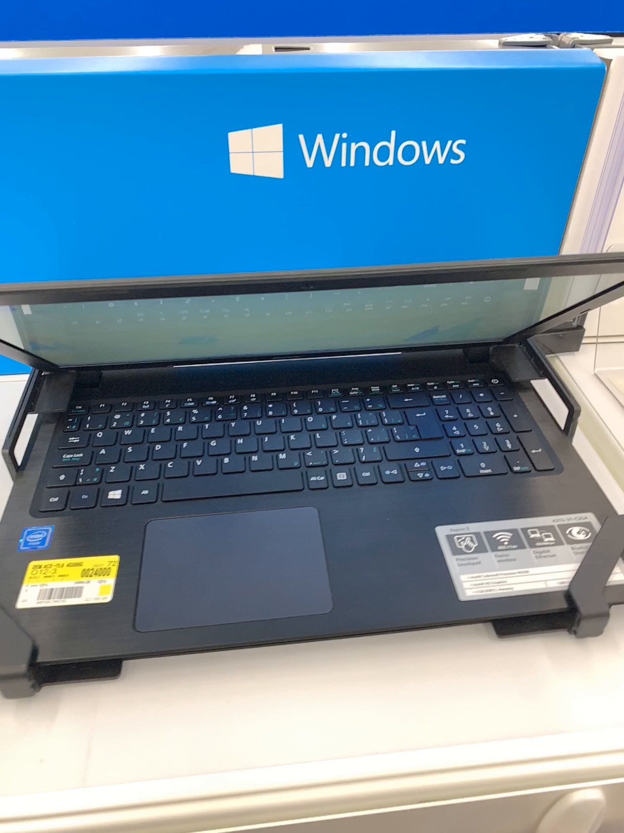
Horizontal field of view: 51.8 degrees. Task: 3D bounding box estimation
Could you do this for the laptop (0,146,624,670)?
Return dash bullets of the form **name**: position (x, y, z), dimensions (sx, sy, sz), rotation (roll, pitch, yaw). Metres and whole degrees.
- **laptop**: position (-0.005, -0.029, 0.344), dimensions (0.344, 0.147, 0.227), rotation (-4, 39, -6)
